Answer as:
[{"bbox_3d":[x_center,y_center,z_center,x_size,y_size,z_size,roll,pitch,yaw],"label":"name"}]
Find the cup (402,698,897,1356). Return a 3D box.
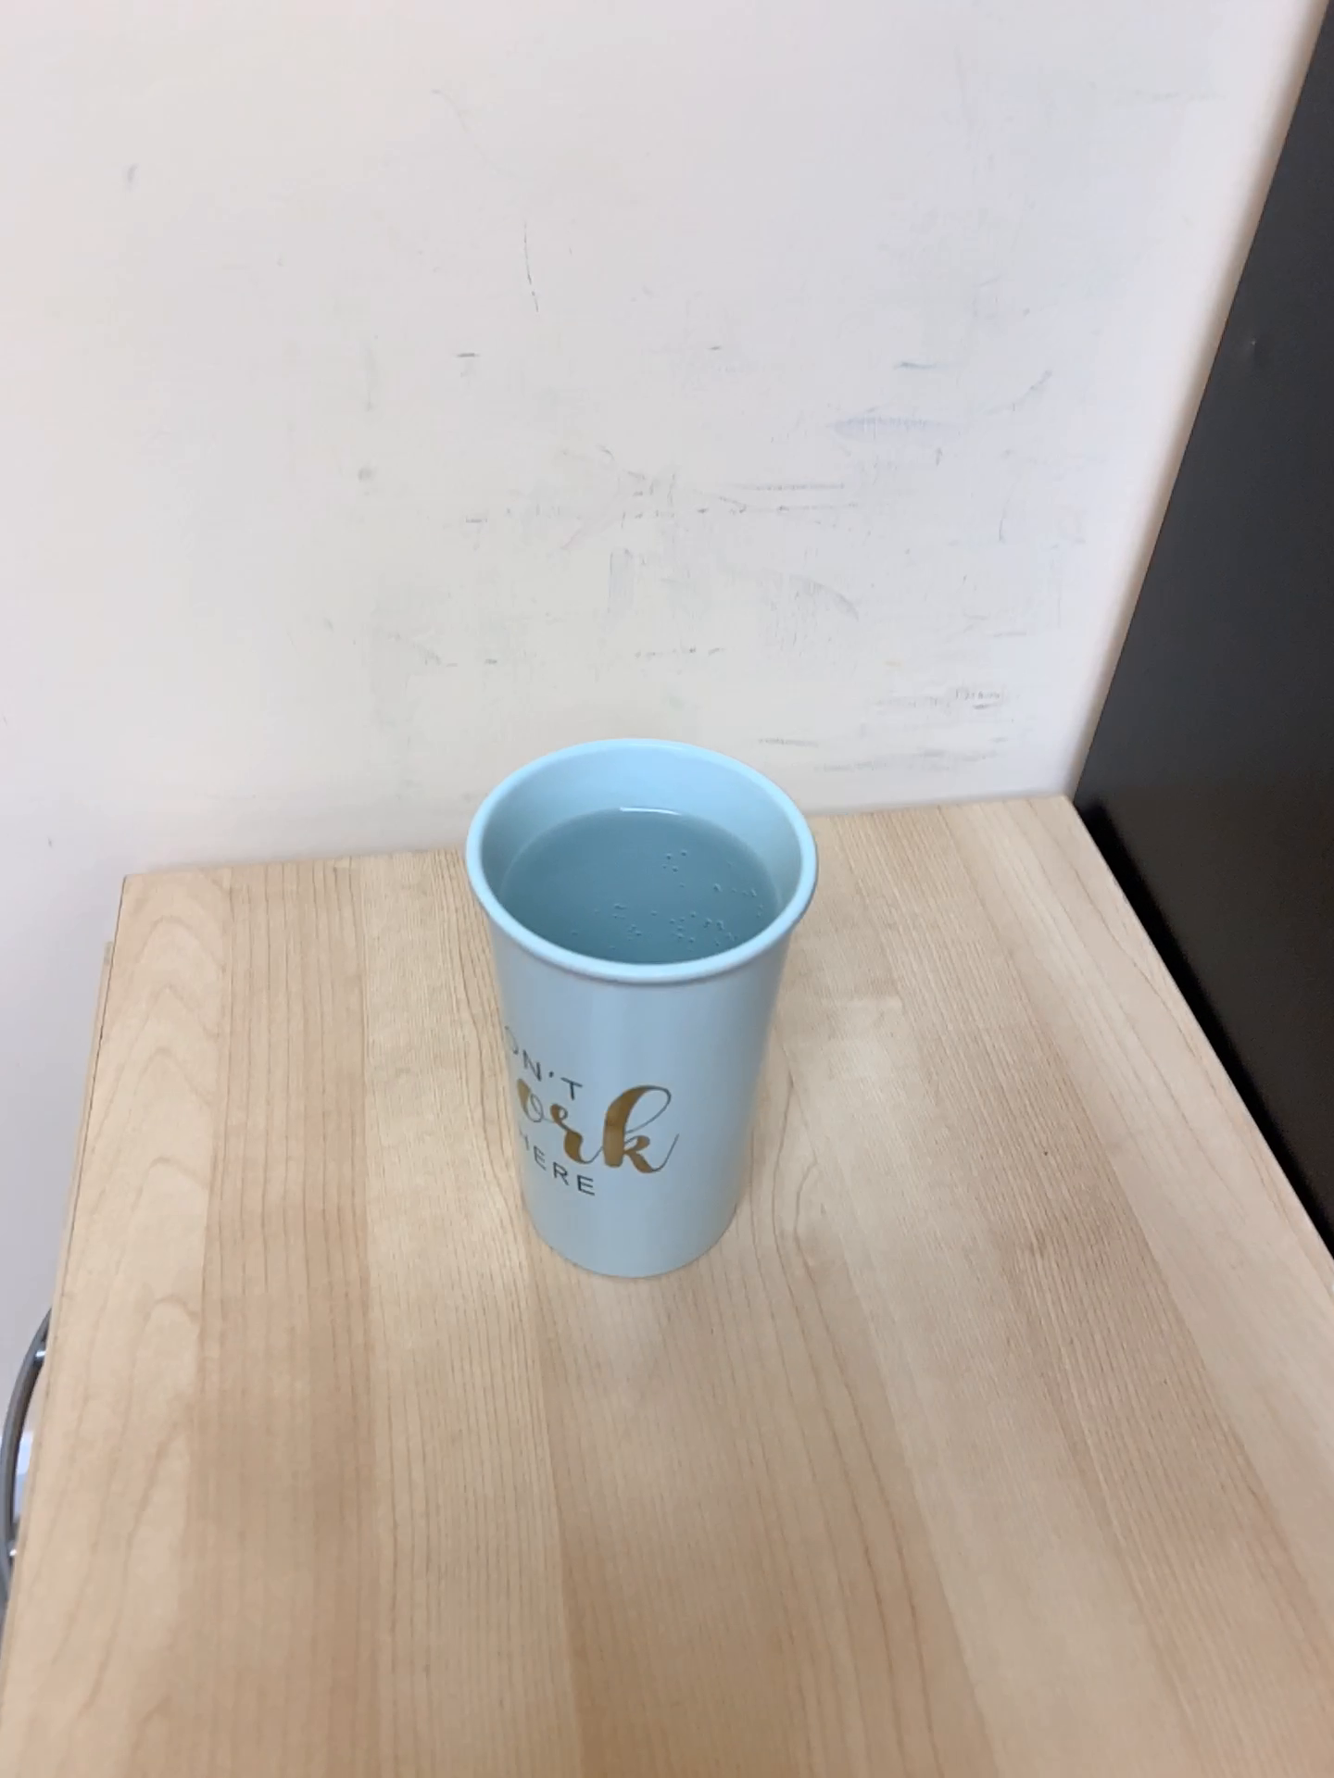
[{"bbox_3d":[-0.004,0.044,0.404,0.100,0.155,0.090,17,46,15],"label":"cup"}]
